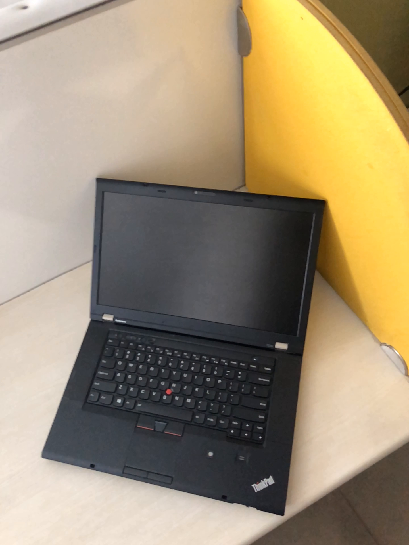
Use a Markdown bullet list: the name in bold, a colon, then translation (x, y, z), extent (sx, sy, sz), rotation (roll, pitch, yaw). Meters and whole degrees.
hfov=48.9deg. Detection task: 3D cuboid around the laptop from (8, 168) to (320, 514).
- **laptop**: translation (-0.028, 0.079, 0.676), extent (0.353, 0.144, 0.419), rotation (8, 63, 9)
